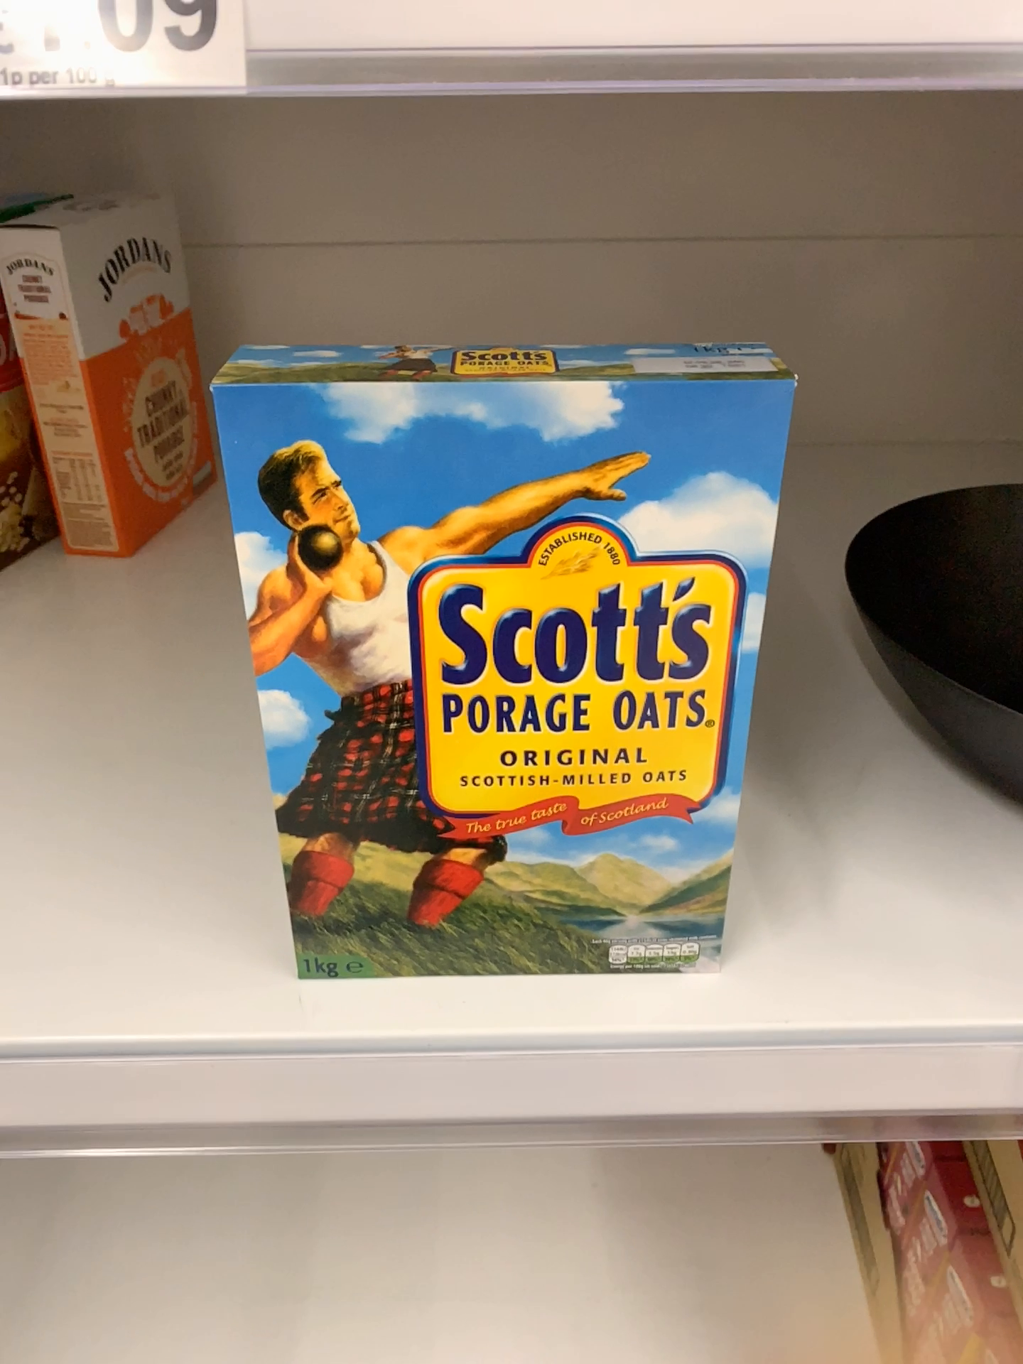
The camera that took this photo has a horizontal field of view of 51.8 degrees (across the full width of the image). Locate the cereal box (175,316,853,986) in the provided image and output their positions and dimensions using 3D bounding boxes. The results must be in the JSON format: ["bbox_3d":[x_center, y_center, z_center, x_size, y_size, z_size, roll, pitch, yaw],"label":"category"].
[{"bbox_3d":[0.002,0.000,0.425,0.210,0.268,0.071,-1,31,0],"label":"cereal box"}]
